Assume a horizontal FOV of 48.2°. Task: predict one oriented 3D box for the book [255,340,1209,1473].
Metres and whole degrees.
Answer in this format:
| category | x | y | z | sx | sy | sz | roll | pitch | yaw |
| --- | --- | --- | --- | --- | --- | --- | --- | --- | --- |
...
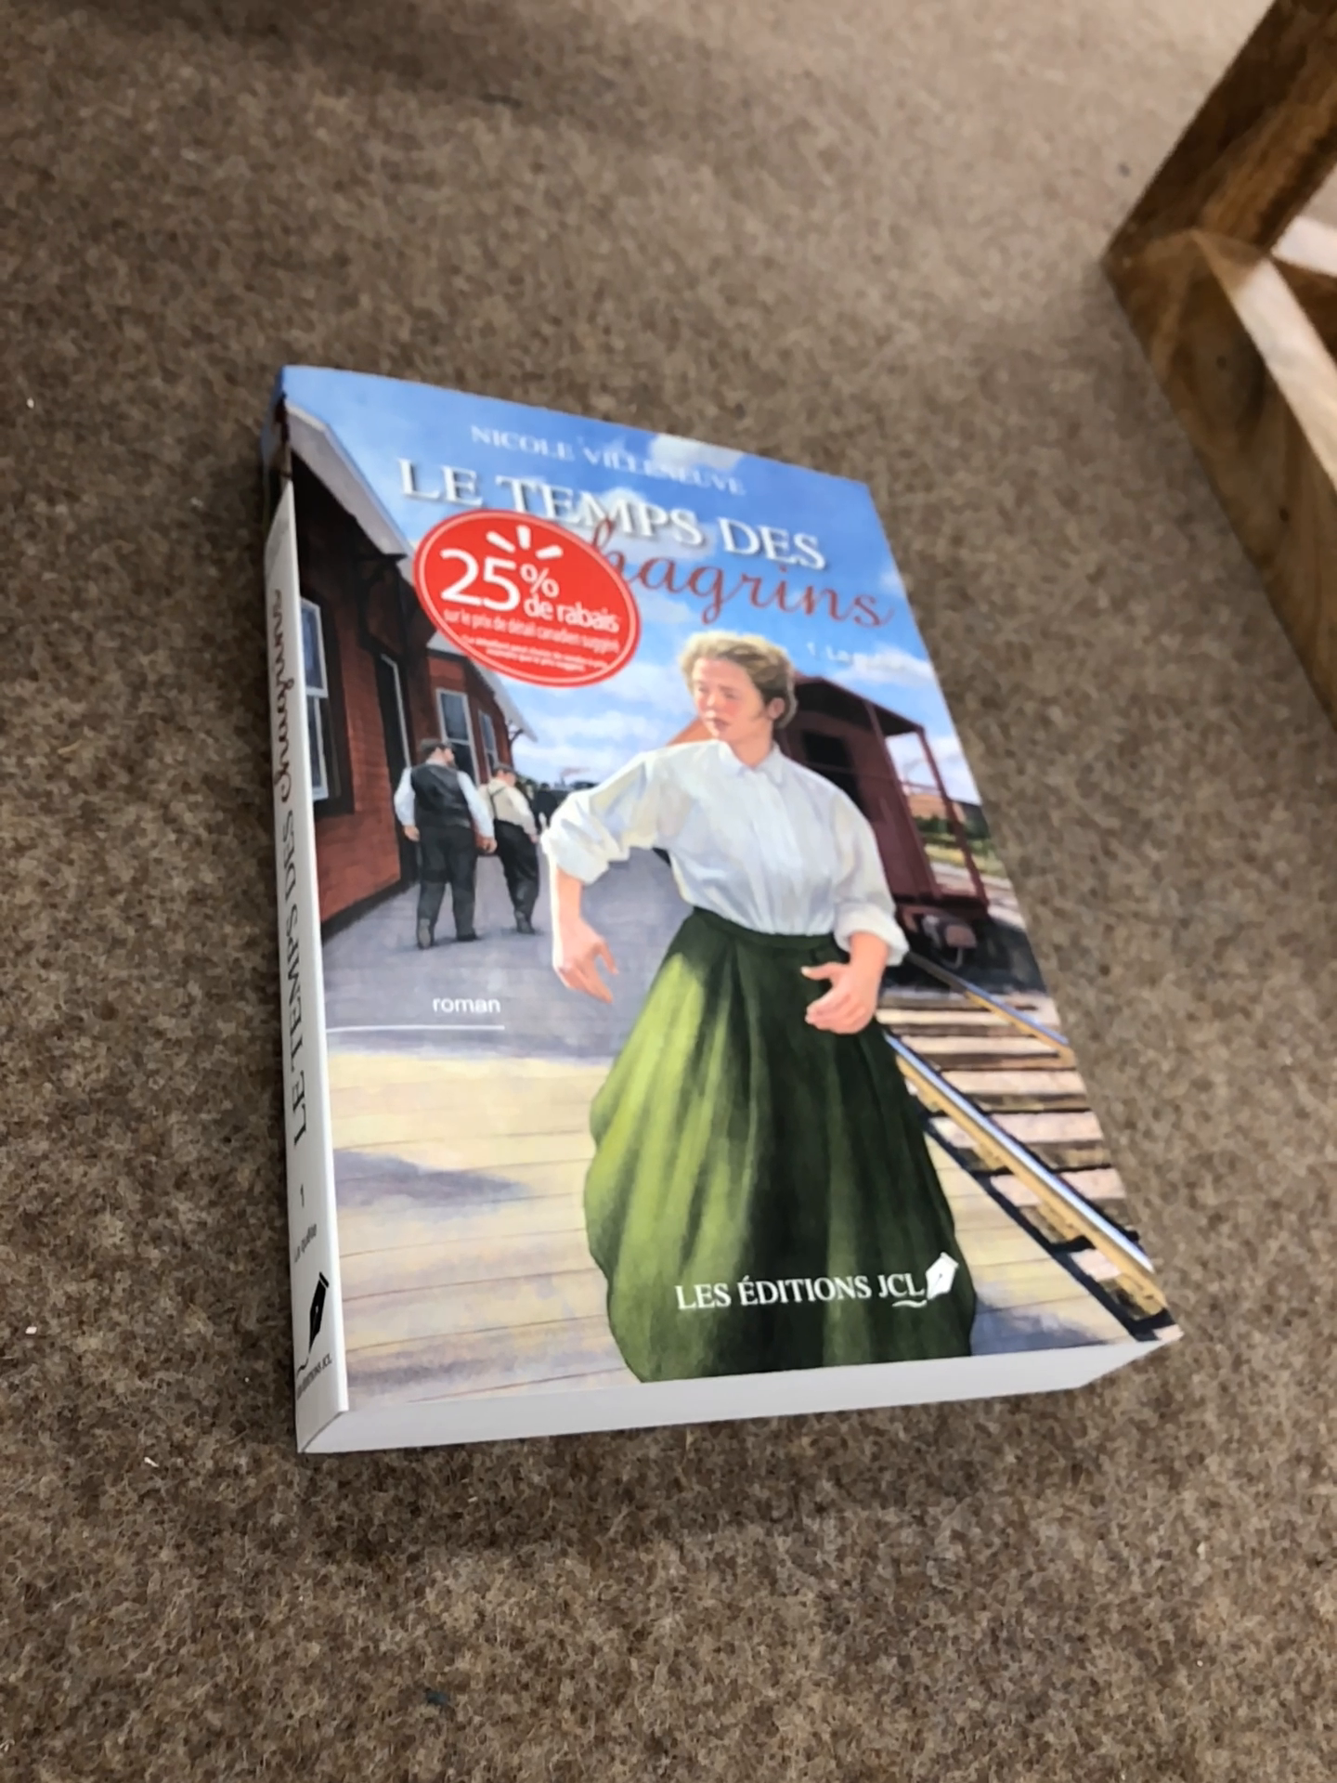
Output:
| category | x | y | z | sx | sy | sz | roll | pitch | yaw |
| --- | --- | --- | --- | --- | --- | --- | --- | --- | --- |
| book | 0.001 | -0.010 | 0.303 | 0.155 | 0.030 | 0.225 | 4 | 55 | -24 |
